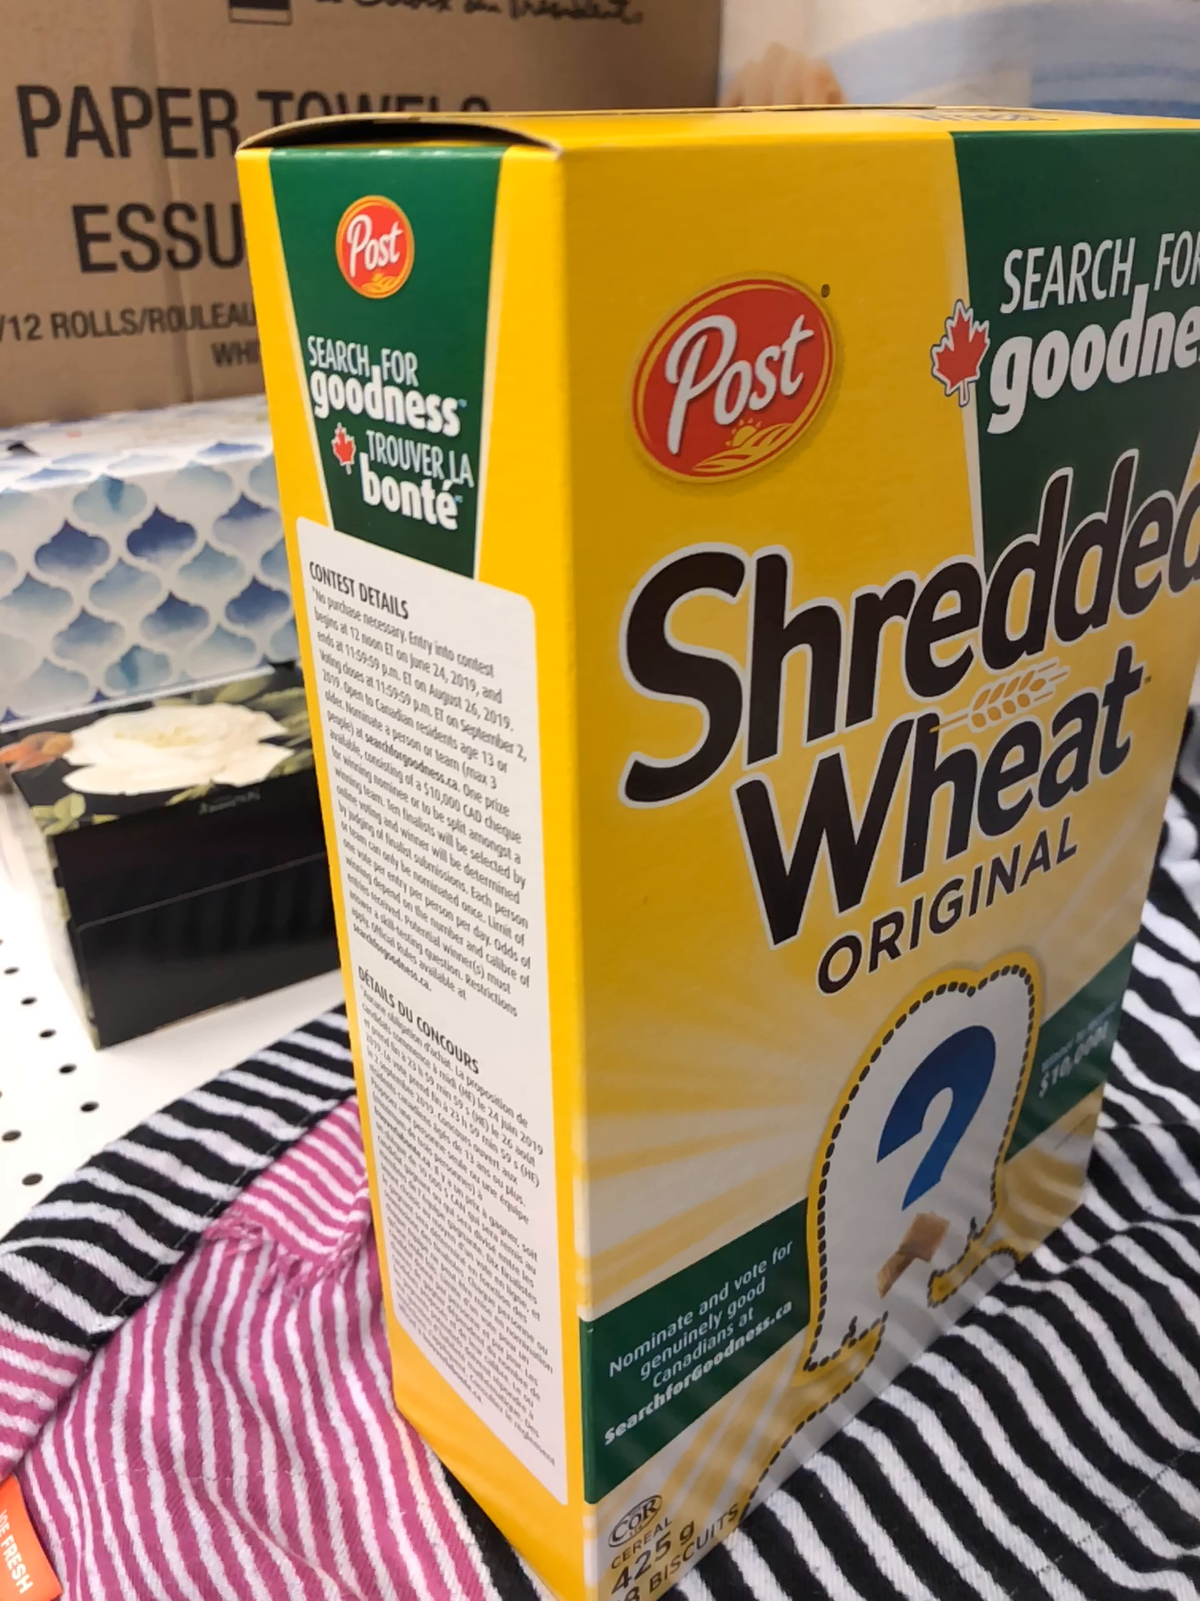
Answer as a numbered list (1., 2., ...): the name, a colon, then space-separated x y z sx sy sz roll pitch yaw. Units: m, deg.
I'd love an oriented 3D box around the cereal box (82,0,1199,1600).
1. cereal box: 0.035 -0.002 0.279 0.210 0.269 0.080 -23 34 -38
